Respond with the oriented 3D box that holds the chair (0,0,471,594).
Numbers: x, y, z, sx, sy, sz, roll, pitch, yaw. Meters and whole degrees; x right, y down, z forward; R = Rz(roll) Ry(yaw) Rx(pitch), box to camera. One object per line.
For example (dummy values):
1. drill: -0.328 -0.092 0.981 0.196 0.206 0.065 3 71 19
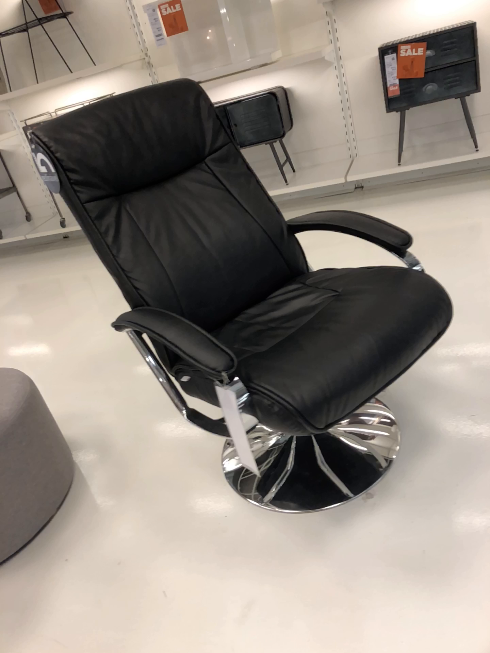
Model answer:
1. chair: 0.038 -0.125 1.436 0.753 1.132 0.723 -35 32 -33
